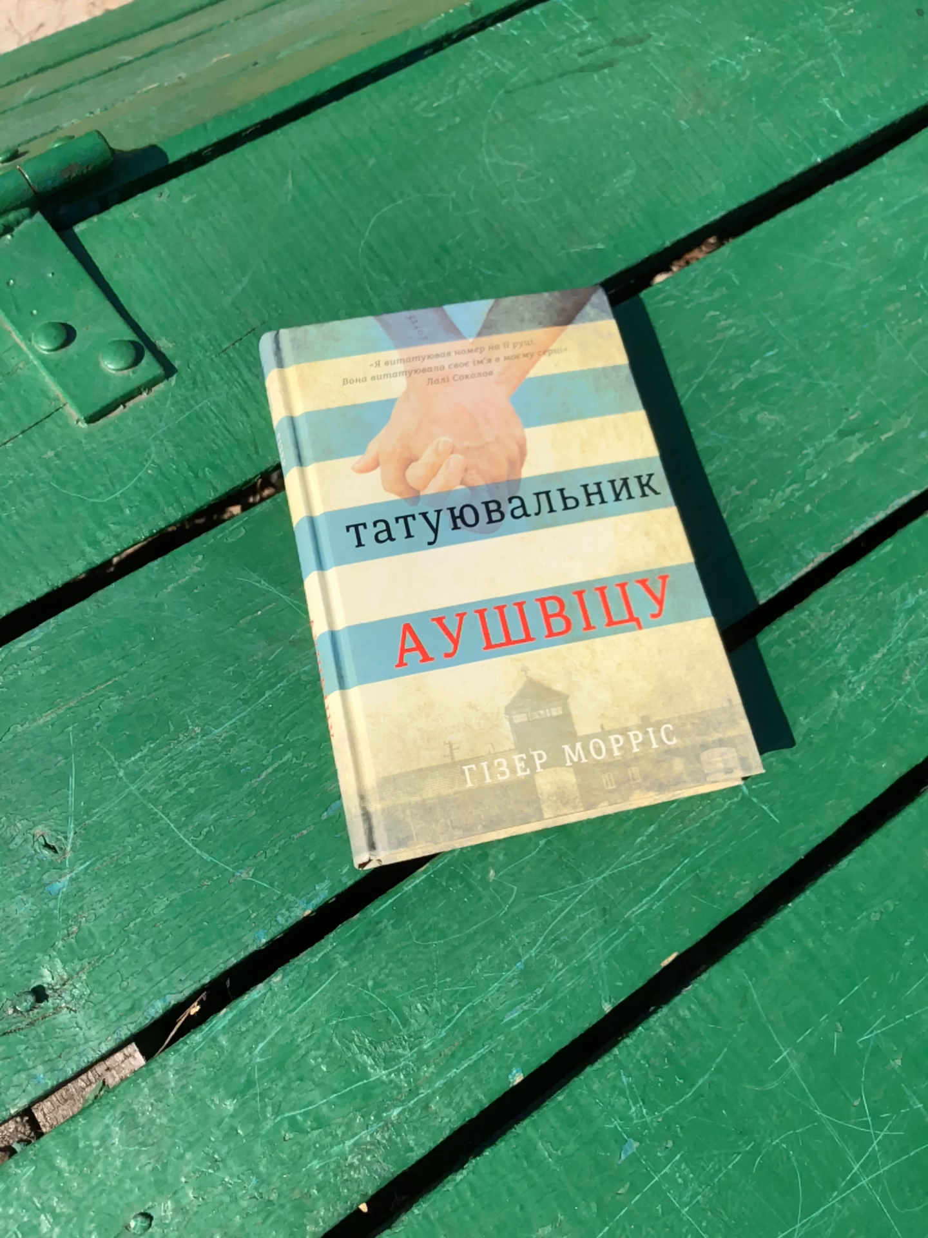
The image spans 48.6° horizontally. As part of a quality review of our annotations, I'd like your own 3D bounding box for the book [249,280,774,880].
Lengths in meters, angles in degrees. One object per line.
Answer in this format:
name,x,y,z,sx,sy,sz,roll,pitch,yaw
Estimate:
book,0.010,-0.026,0.385,0.147,0.020,0.213,-10,70,-9
